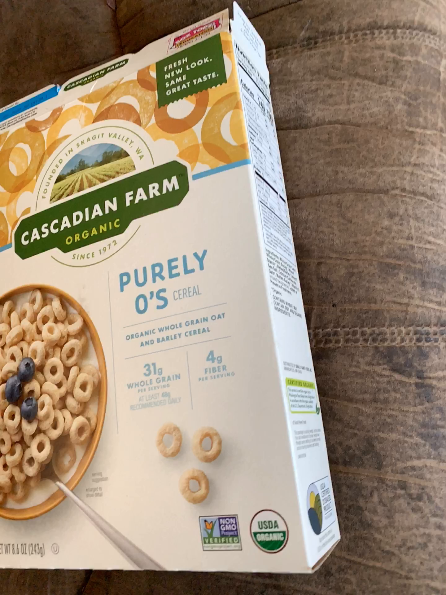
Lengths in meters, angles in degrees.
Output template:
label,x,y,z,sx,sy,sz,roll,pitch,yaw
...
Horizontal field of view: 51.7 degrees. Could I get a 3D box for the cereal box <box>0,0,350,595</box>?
label,x,y,z,sx,sy,sz,roll,pitch,yaw
cereal box,-0.063,0.000,0.253,0.201,0.070,0.280,-14,68,22
